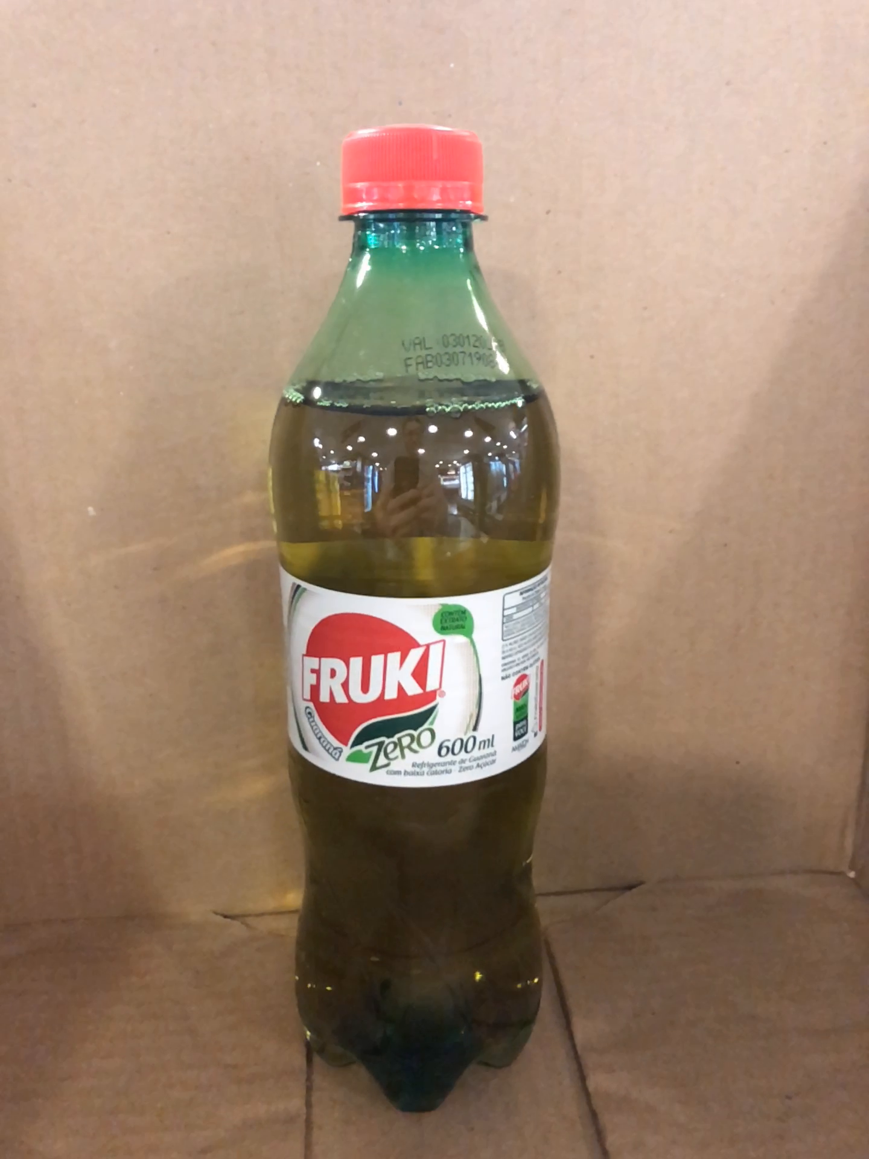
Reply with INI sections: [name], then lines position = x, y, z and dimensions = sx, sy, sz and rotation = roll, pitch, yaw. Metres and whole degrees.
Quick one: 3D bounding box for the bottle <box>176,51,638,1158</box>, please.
[bottle]
position = 0.002, 0.014, 0.237
dimensions = 0.080, 0.239, 0.080
rotation = 0, 18, 0
